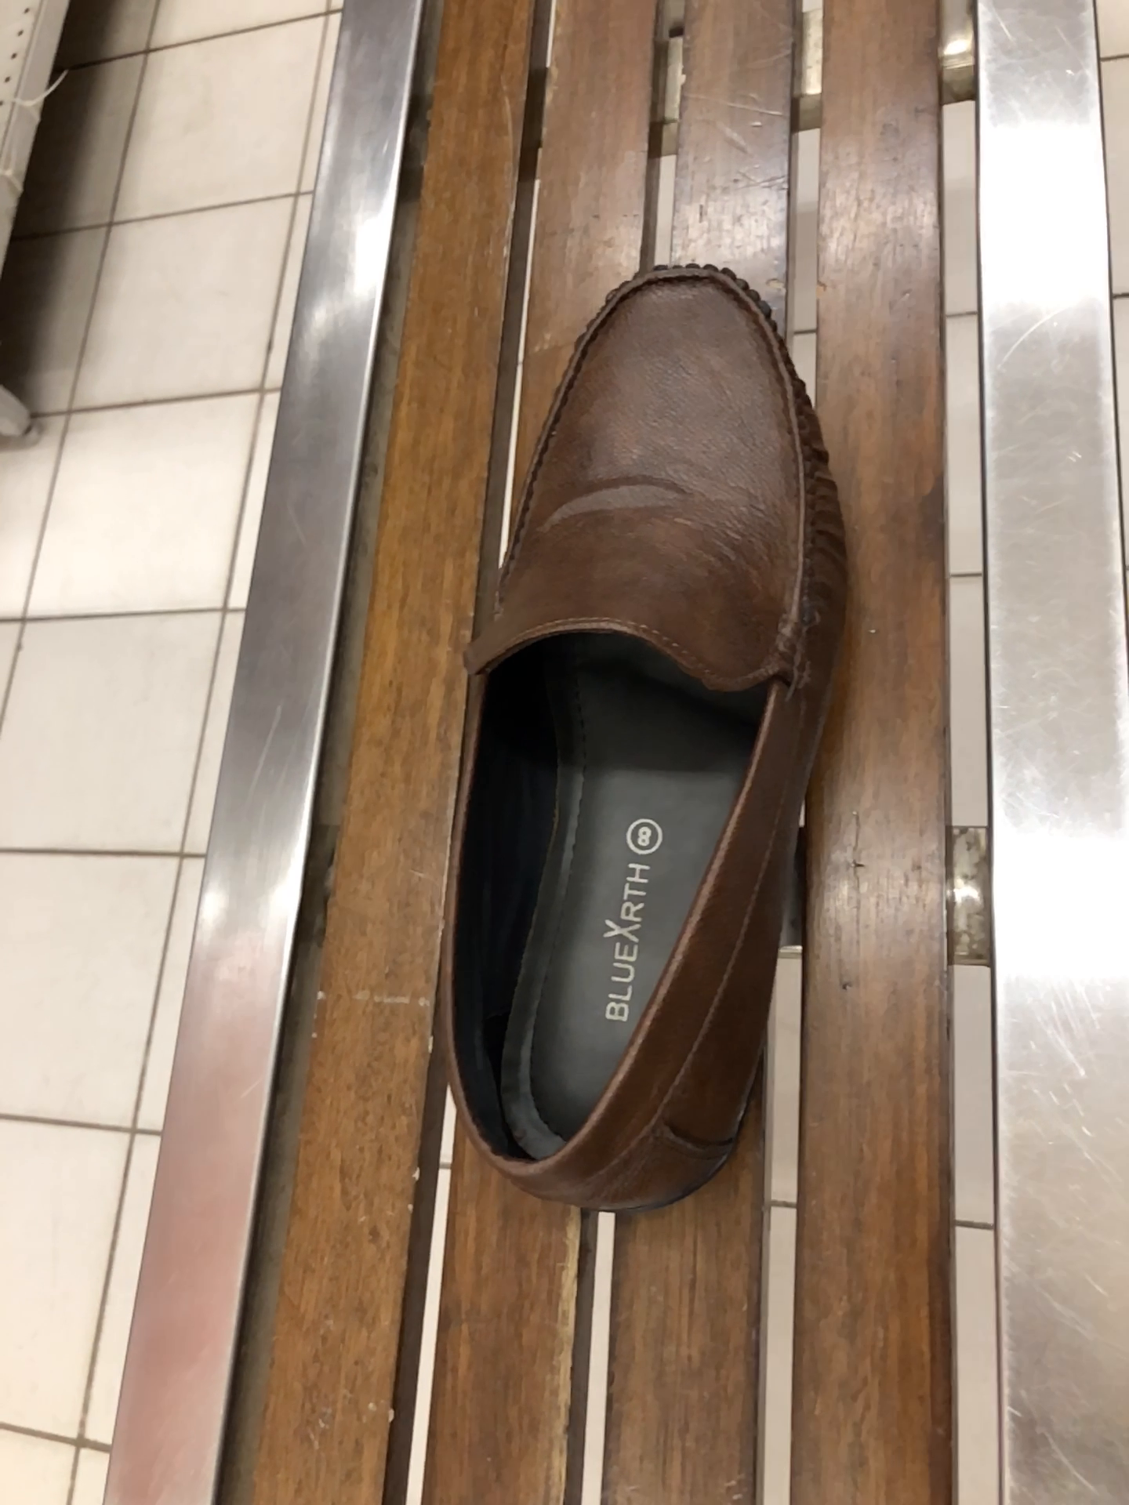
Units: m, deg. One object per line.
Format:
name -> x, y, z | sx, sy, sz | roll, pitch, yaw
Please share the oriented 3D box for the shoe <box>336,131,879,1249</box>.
shoe -> 0.025, -0.021, 0.353 | 0.090, 0.090, 0.280 | 4, 75, 21
